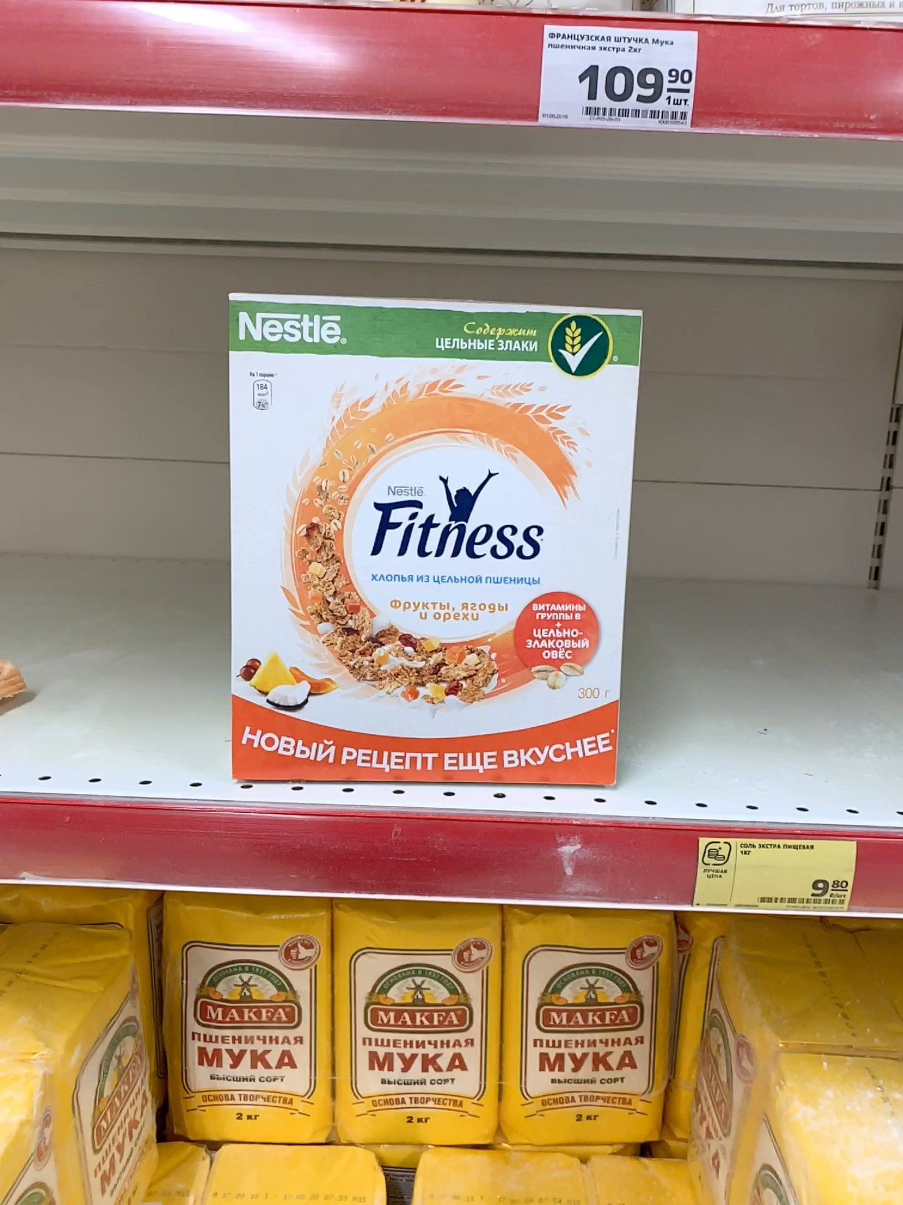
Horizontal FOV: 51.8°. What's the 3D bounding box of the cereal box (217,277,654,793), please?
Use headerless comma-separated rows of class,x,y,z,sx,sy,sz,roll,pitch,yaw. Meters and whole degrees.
cereal box,-0.011,-0.031,0.474,0.200,0.239,0.060,2,7,-3
